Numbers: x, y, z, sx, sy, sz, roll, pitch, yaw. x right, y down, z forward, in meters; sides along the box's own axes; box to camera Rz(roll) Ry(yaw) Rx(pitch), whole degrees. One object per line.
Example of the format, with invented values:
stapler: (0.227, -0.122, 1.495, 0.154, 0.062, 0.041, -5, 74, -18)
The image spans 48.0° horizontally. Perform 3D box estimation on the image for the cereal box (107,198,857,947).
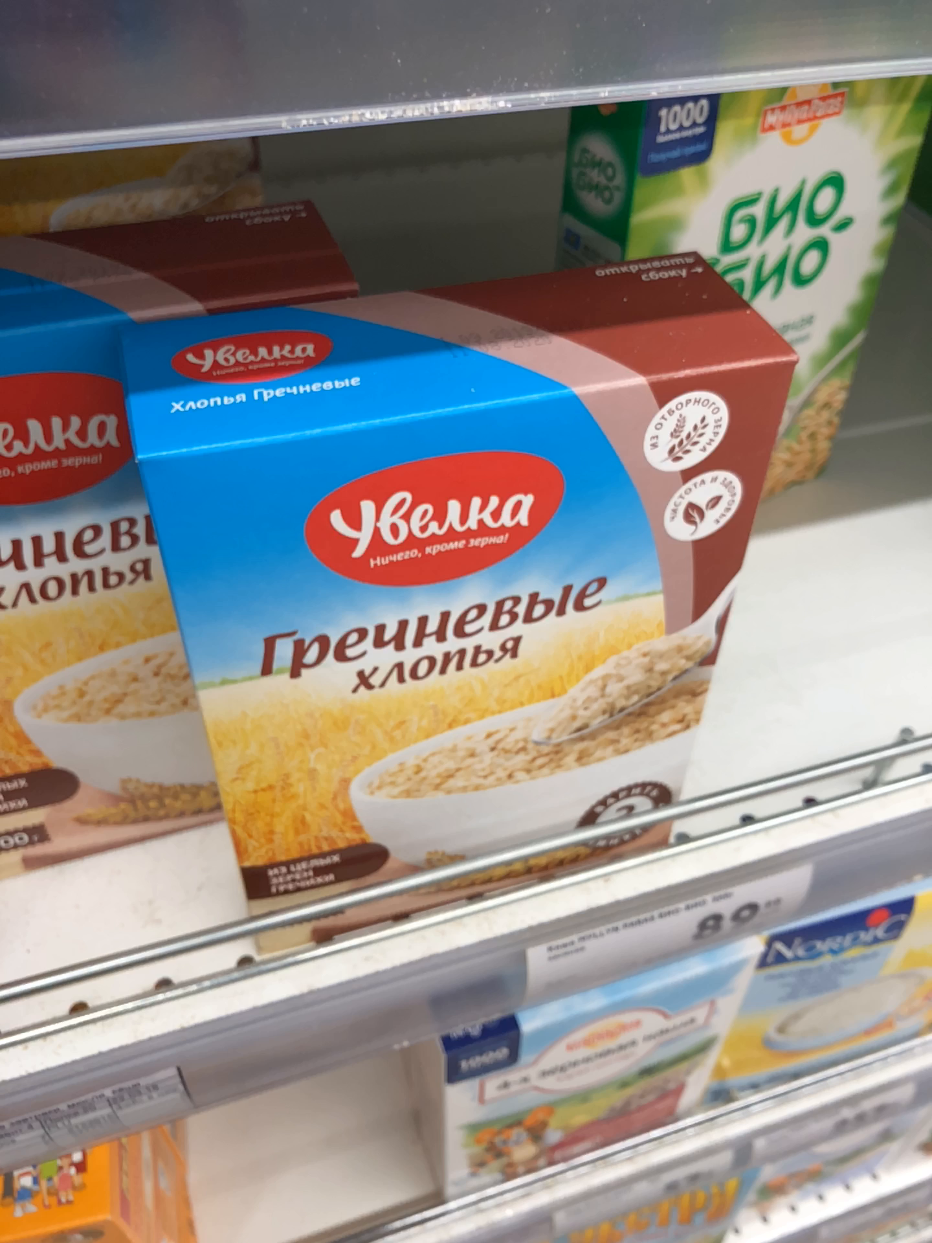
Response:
cereal box: (0.001, -0.003, 0.291, 0.150, 0.189, 0.060, -12, 46, -13)
